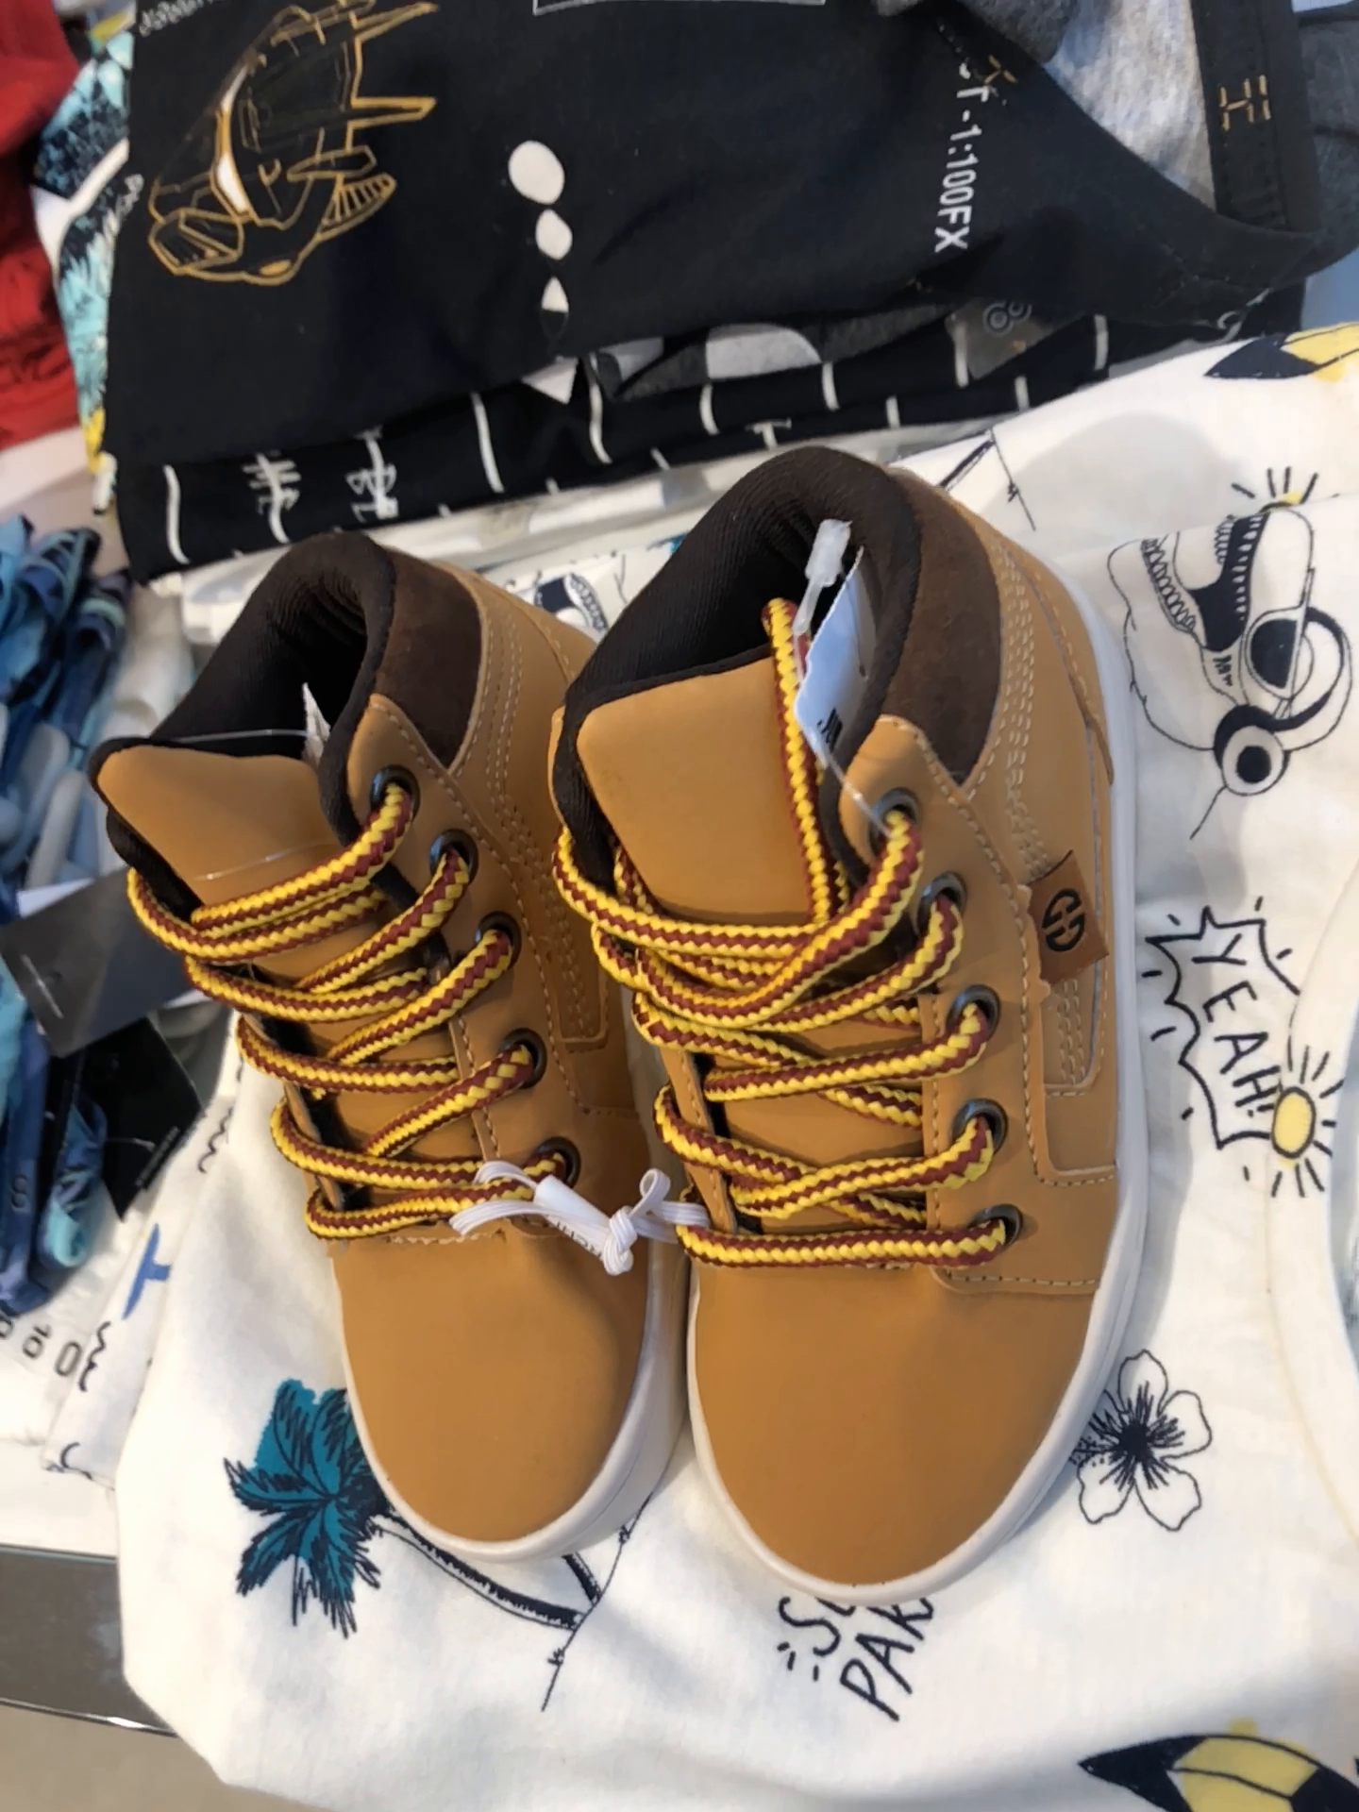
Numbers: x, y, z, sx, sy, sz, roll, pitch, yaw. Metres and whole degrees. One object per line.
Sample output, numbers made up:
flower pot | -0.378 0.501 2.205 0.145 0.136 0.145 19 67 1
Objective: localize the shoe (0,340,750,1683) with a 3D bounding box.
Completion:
shoe | -0.041 0.018 0.244 0.070 0.090 0.170 -8 75 24

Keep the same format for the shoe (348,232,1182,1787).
shoe | 0.023 0.012 0.218 0.070 0.090 0.170 2 78 27
